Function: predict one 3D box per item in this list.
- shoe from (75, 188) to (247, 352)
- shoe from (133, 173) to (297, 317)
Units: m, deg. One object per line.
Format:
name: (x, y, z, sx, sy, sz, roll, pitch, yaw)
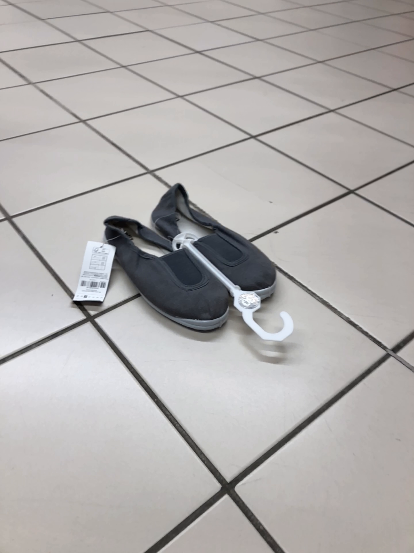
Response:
shoe: (-0.053, -0.017, 0.458, 0.077, 0.046, 0.186, -25, 49, -29)
shoe: (0.001, -0.043, 0.491, 0.071, 0.046, 0.186, -26, 49, -29)
